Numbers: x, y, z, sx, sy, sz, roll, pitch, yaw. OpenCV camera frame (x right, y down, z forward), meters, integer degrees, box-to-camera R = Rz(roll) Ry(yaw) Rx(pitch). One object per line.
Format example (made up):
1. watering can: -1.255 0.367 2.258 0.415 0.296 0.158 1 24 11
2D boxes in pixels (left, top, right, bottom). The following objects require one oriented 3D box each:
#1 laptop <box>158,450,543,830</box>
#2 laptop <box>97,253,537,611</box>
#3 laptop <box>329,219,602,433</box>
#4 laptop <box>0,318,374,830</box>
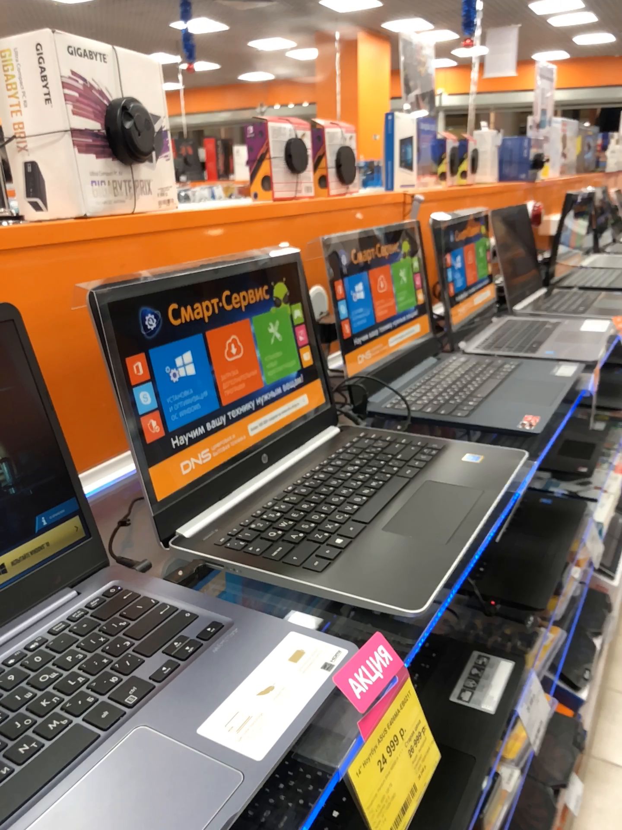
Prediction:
1. laptop: 0.068 0.232 0.734 0.251 0.245 0.364 8 21 29
2. laptop: 0.029 -0.026 0.629 0.267 0.197 0.314 9 21 28
3. laptop: 0.210 -0.138 0.914 0.248 0.205 0.277 10 23 30
4. laptop: -0.170 0.078 0.337 0.279 0.199 0.314 6 19 28
